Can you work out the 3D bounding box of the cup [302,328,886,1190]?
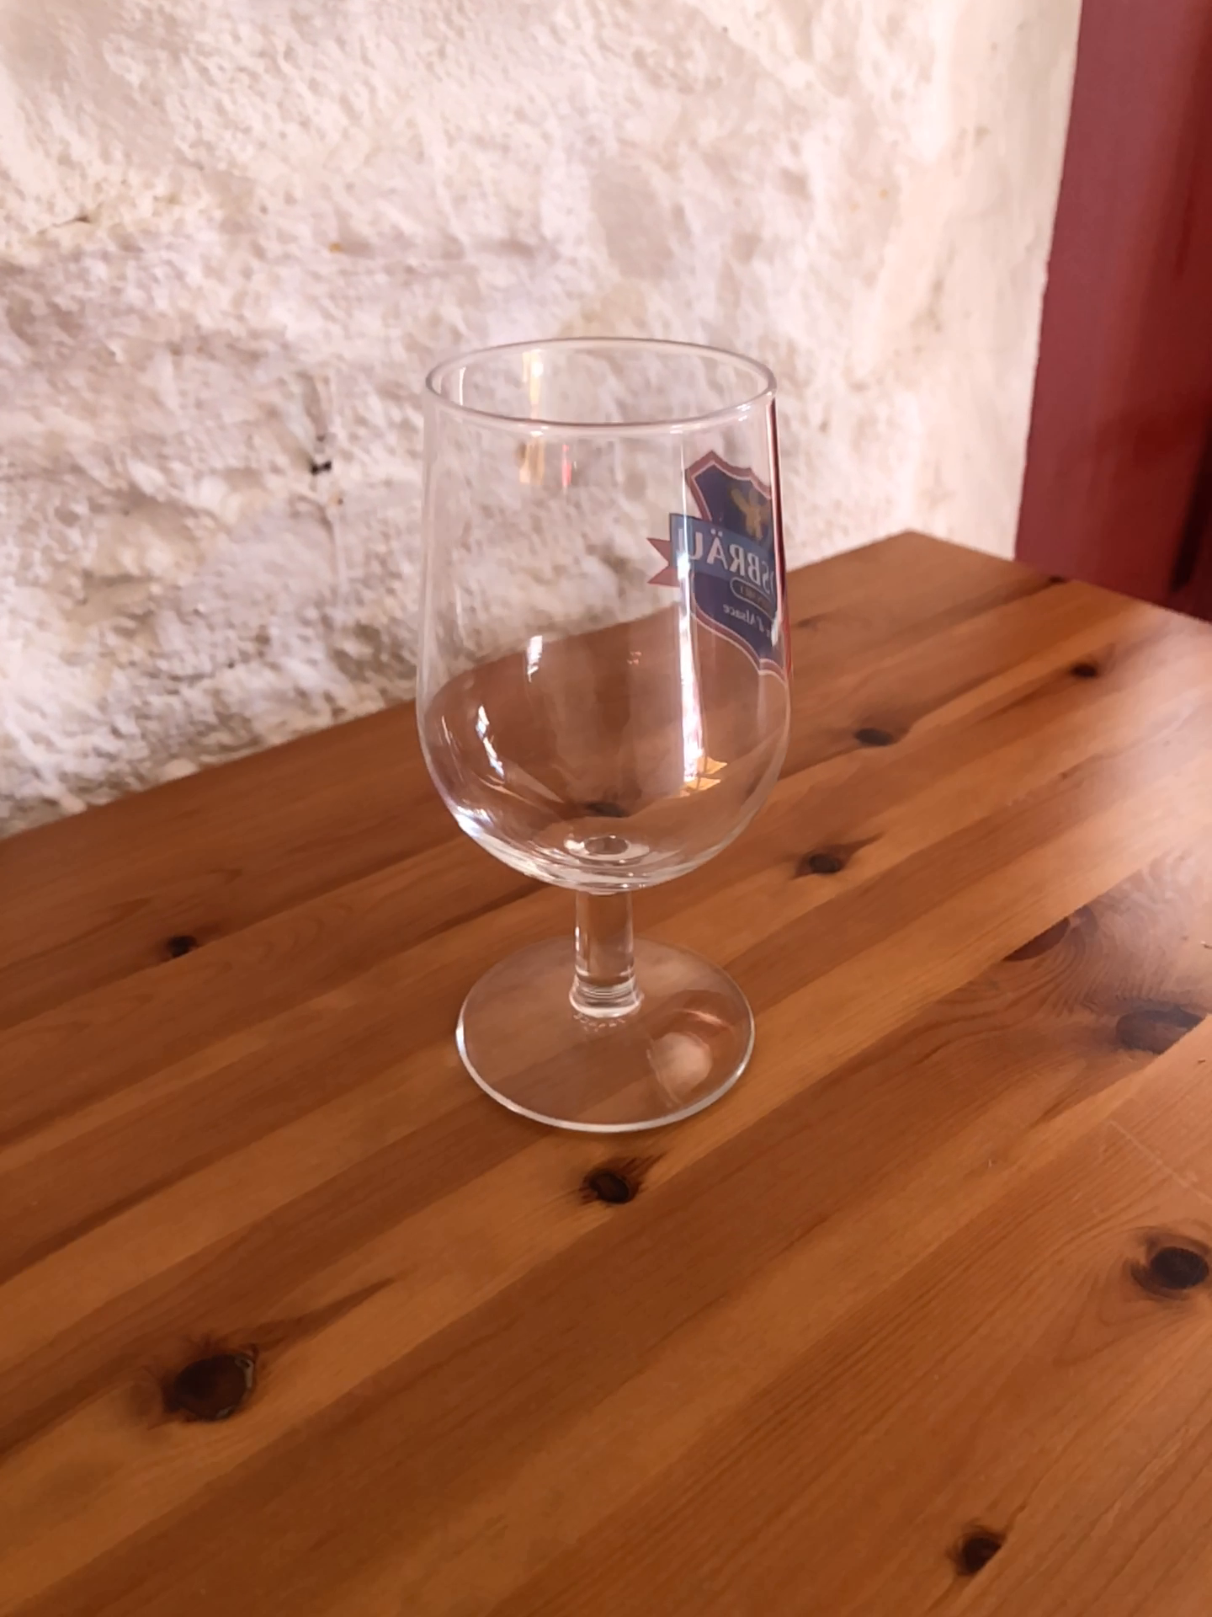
[{"bbox_3d":[-0.004,-0.014,0.274,0.077,0.142,0.079,-1,29,0],"label":"cup"}]
